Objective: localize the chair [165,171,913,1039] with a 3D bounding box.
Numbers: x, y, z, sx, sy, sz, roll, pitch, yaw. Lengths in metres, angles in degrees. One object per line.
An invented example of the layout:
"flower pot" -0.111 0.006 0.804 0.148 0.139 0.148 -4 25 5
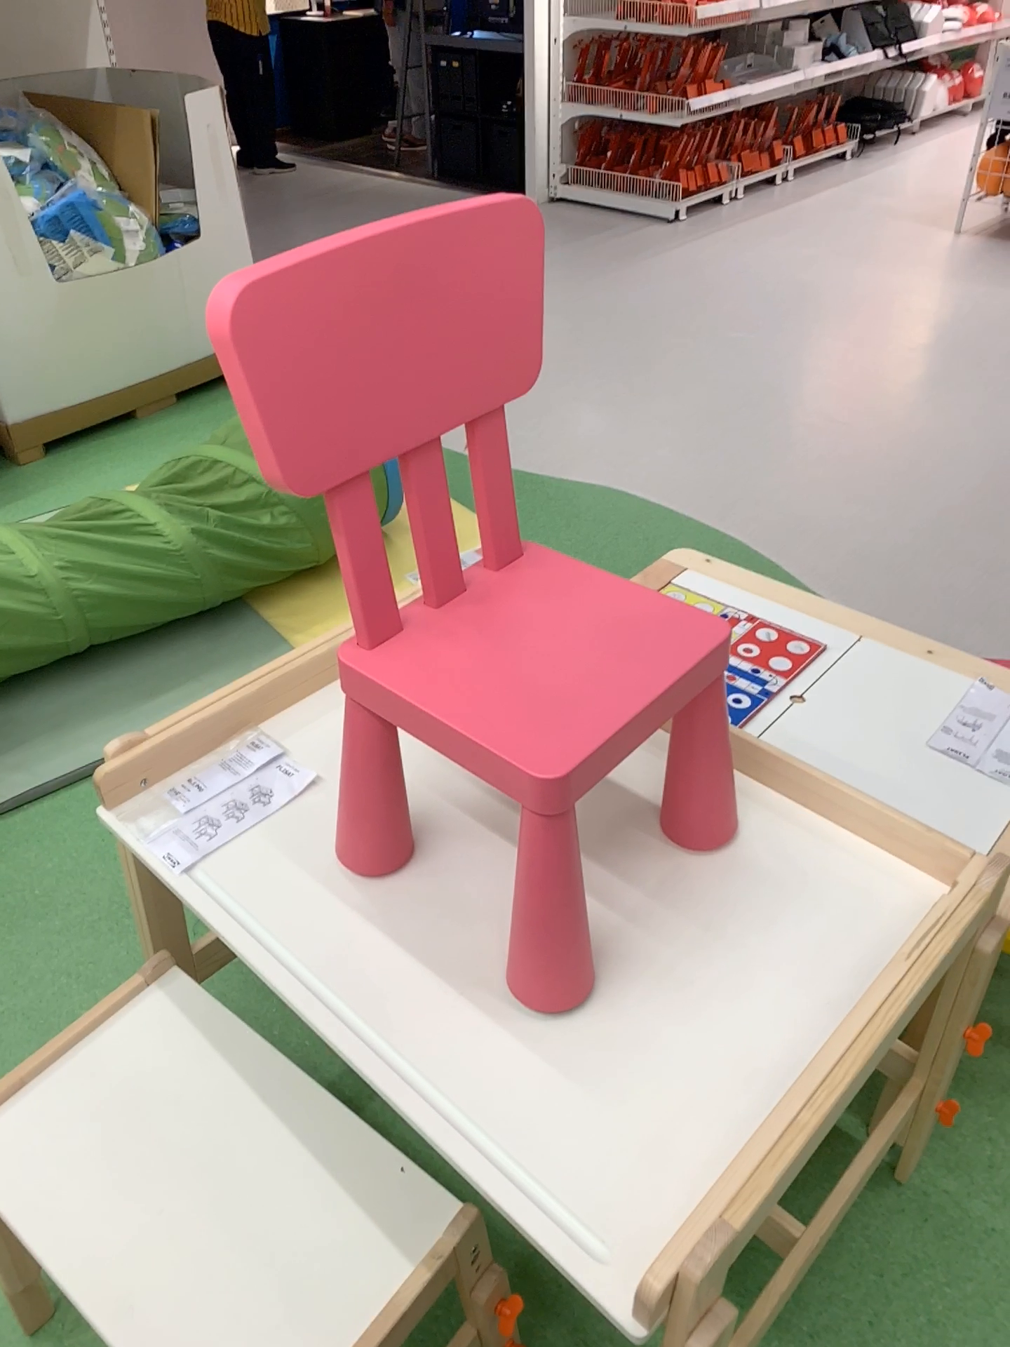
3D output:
"chair" 0.037 -0.087 0.972 0.401 0.597 0.421 28 46 33
